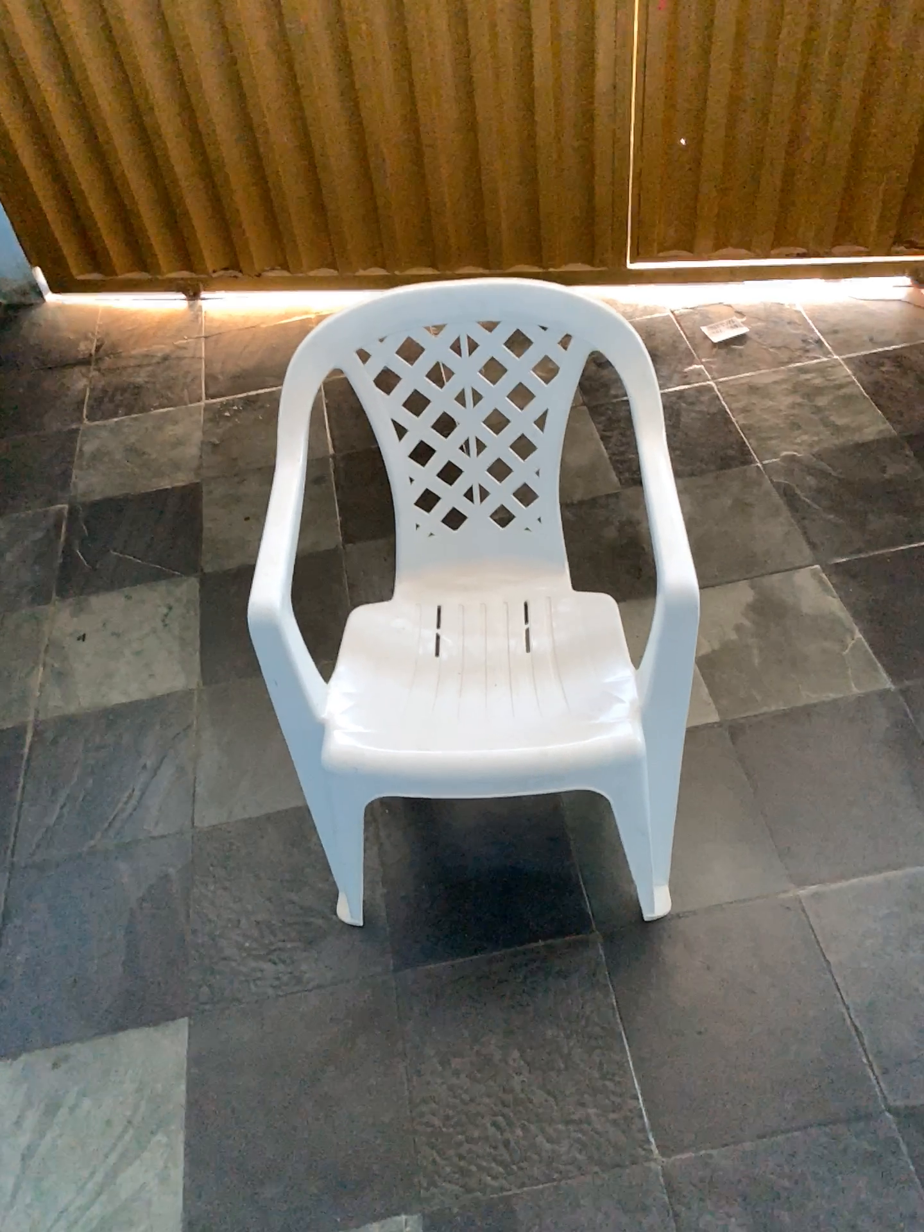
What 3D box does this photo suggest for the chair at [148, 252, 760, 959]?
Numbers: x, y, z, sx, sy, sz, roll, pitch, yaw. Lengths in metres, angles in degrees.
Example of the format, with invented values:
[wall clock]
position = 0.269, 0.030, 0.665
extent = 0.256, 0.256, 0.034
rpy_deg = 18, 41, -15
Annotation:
[chair]
position = 0.013, 0.017, 1.291
extent = 0.540, 0.717, 0.593
rpy_deg = -6, 48, 3
